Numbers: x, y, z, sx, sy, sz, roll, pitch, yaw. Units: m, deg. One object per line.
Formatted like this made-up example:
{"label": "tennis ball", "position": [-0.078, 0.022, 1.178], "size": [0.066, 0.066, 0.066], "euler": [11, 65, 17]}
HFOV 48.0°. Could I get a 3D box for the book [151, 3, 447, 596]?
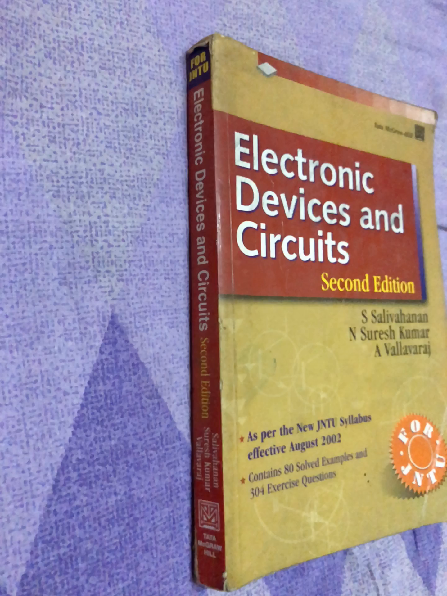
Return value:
{"label": "book", "position": [0.048, 0.000, 0.259], "size": [0.161, 0.040, 0.240], "euler": [1, 85, -32]}
